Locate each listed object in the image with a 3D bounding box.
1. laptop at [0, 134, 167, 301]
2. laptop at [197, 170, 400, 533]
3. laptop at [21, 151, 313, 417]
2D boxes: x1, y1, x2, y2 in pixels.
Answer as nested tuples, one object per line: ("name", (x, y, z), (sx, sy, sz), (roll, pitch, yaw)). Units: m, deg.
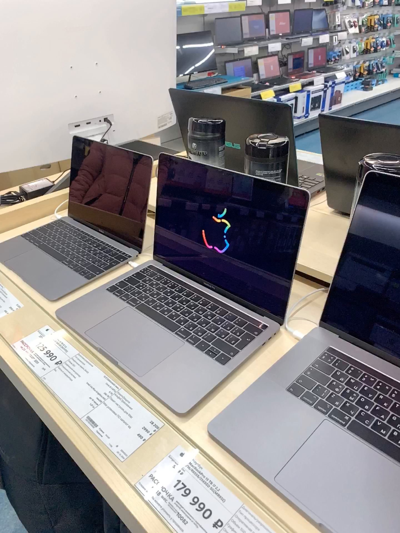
("laptop", (-0.265, -0.121, 0.813), (0.281, 0.172, 0.266), (25, 43, 37))
("laptop", (0.239, 0.087, 0.392), (0.327, 0.210, 0.347), (-29, 40, -35))
("laptop", (-0.044, -0.012, 0.600), (0.300, 0.195, 0.260), (25, 42, 37))
